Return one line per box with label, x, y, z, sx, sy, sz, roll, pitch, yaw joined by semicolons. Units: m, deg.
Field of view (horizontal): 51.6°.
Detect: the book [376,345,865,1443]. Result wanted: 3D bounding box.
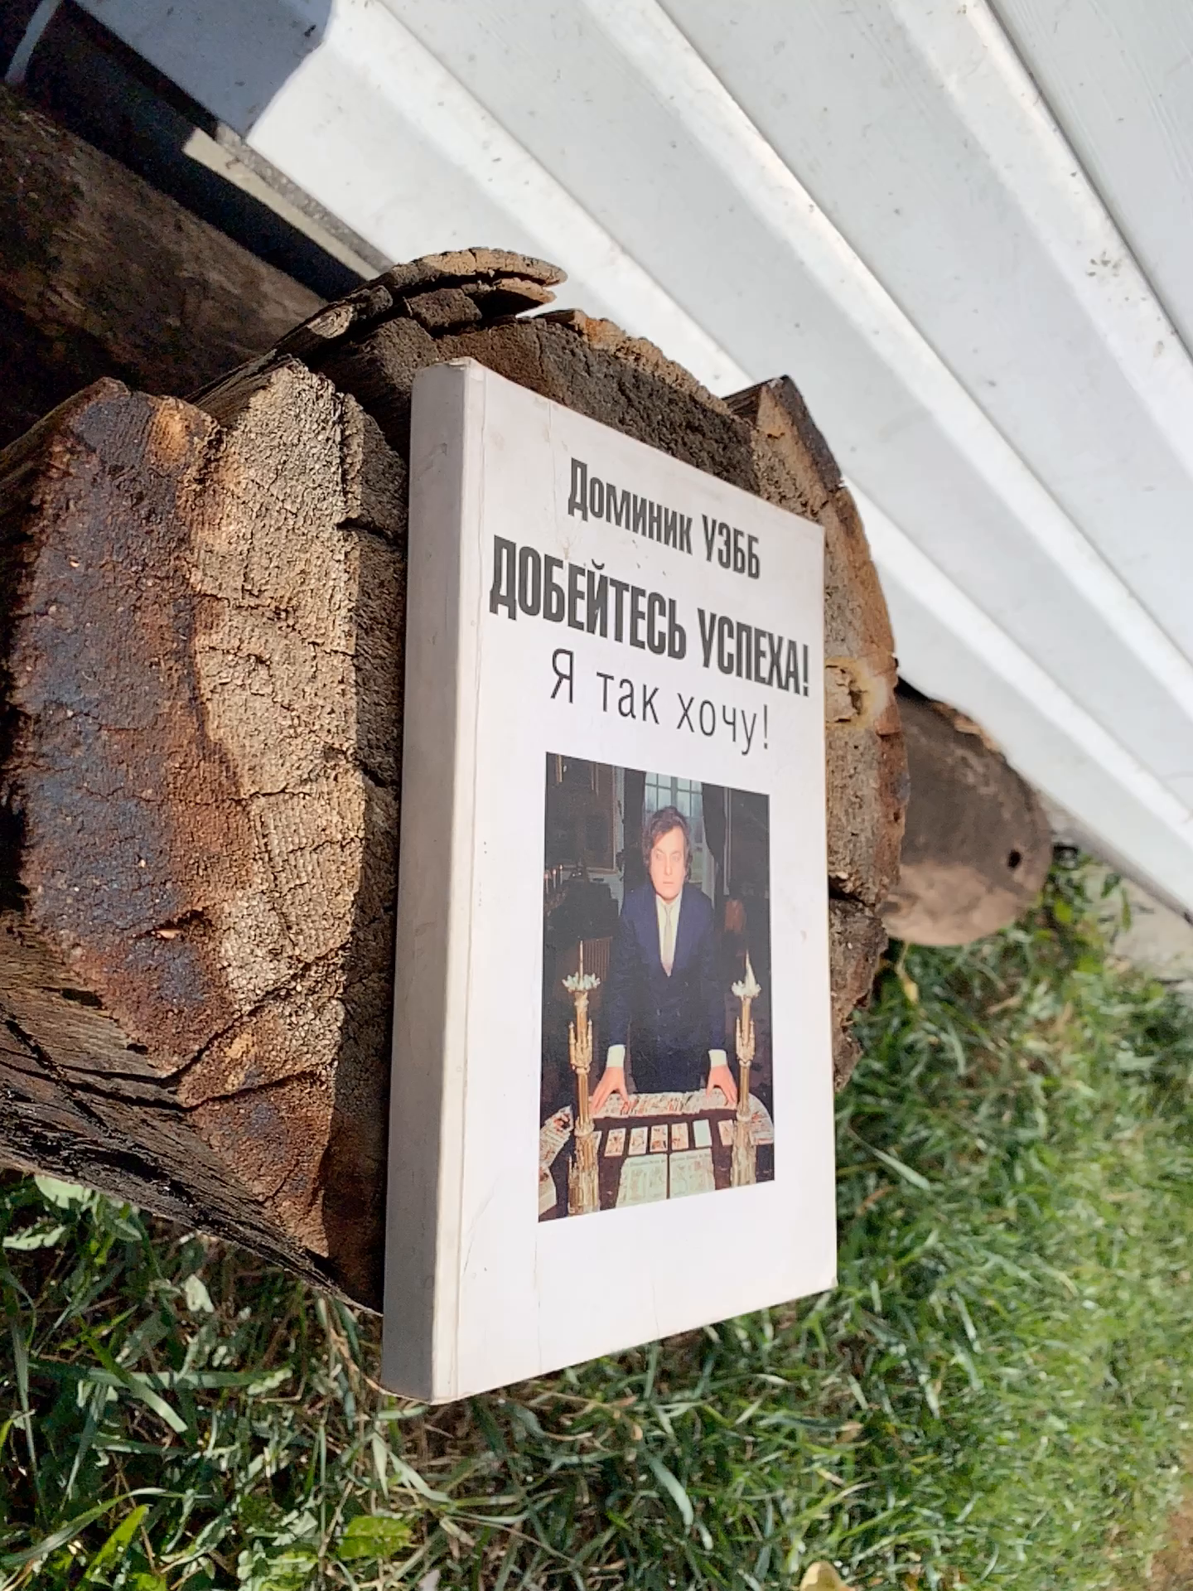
book;0.015;0.021;0.293;0.140;0.020;0.210;10;77;-46
